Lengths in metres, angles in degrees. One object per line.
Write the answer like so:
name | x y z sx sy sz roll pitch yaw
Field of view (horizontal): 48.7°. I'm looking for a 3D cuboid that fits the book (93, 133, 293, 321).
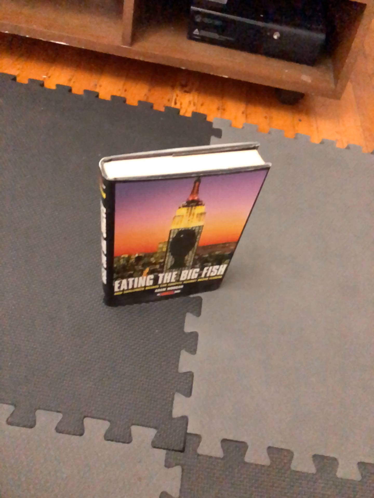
book | -0.011 -0.010 0.485 0.180 0.259 0.050 -10 59 -17
